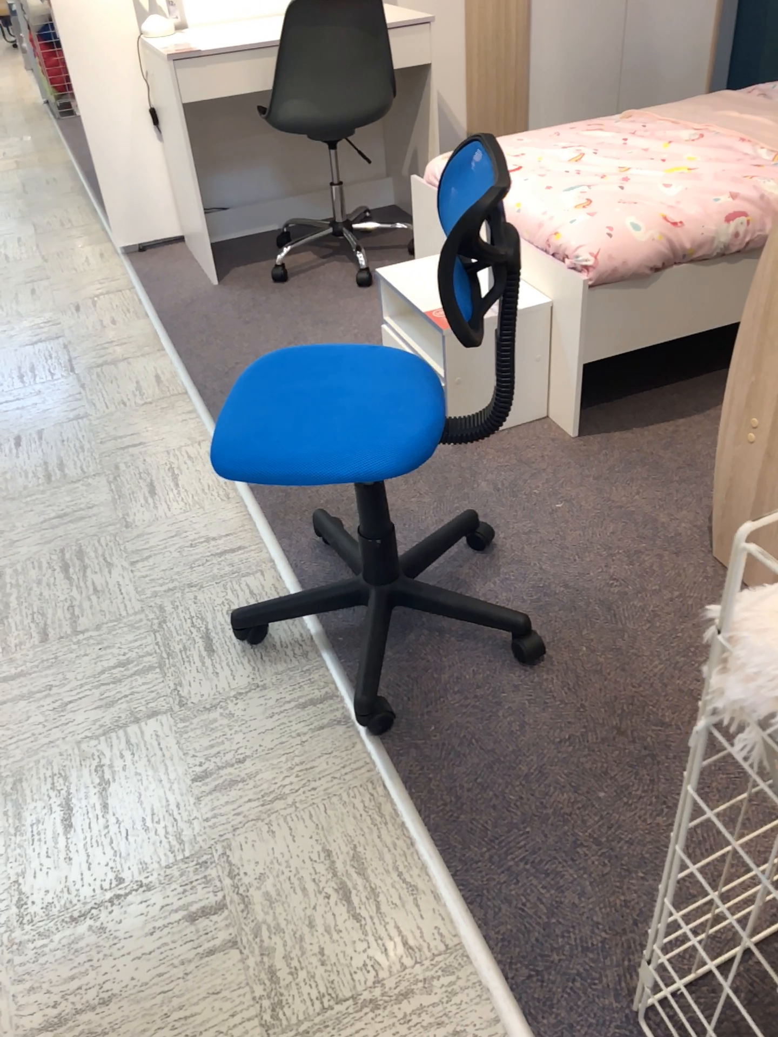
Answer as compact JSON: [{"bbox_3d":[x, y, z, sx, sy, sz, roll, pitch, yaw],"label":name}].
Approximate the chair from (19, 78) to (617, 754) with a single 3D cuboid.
[{"bbox_3d":[-0.057,-0.178,1.363,0.610,0.795,0.664,-6,36,0],"label":"chair"}]
